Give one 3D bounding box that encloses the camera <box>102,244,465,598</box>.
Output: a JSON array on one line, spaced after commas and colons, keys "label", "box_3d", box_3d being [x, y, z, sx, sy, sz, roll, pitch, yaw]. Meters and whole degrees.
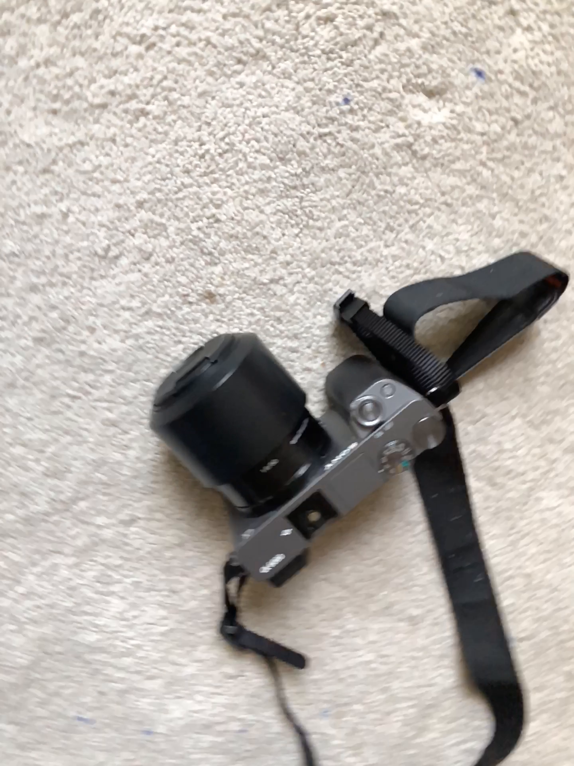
[{"label": "camera", "box_3d": [-0.004, 0.013, 0.303, 0.120, 0.070, 0.100, -40, 107, 0]}]
